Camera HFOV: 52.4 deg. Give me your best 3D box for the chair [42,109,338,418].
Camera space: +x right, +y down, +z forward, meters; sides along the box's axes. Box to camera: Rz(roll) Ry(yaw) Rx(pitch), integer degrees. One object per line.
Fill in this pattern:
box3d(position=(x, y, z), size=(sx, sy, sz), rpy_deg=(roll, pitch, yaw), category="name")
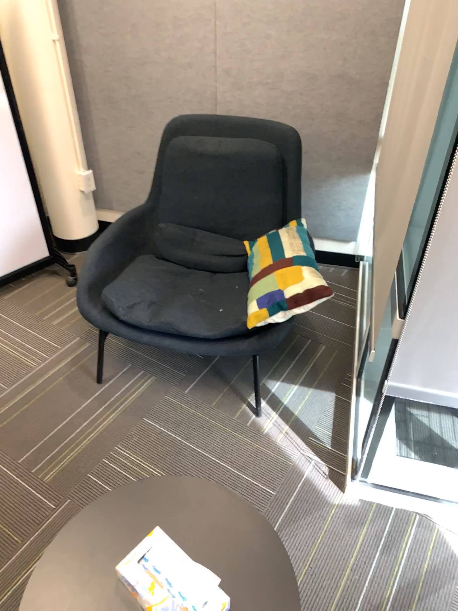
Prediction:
box3d(position=(-0.070, -0.261, 2.035), size=(0.791, 0.815, 1.004), rpy_deg=(13, 39, 16), category="chair")
